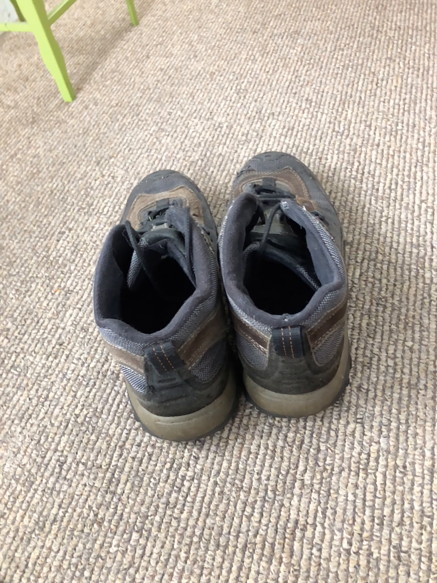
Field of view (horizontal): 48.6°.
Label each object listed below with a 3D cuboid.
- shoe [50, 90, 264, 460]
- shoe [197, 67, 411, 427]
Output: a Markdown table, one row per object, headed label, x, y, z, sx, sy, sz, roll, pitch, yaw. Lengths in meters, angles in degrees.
| label | x | y | z | sx | sy | sz | roll | pitch | yaw |
| --- | --- | --- | --- | --- | --- | --- | --- | --- | --- |
| shoe | -0.048 | -0.027 | 0.415 | 0.116 | 0.135 | 0.281 | -10 | 51 | 1 |
| shoe | 0.065 | -0.047 | 0.411 | 0.118 | 0.137 | 0.281 | -2 | 52 | 8 |
